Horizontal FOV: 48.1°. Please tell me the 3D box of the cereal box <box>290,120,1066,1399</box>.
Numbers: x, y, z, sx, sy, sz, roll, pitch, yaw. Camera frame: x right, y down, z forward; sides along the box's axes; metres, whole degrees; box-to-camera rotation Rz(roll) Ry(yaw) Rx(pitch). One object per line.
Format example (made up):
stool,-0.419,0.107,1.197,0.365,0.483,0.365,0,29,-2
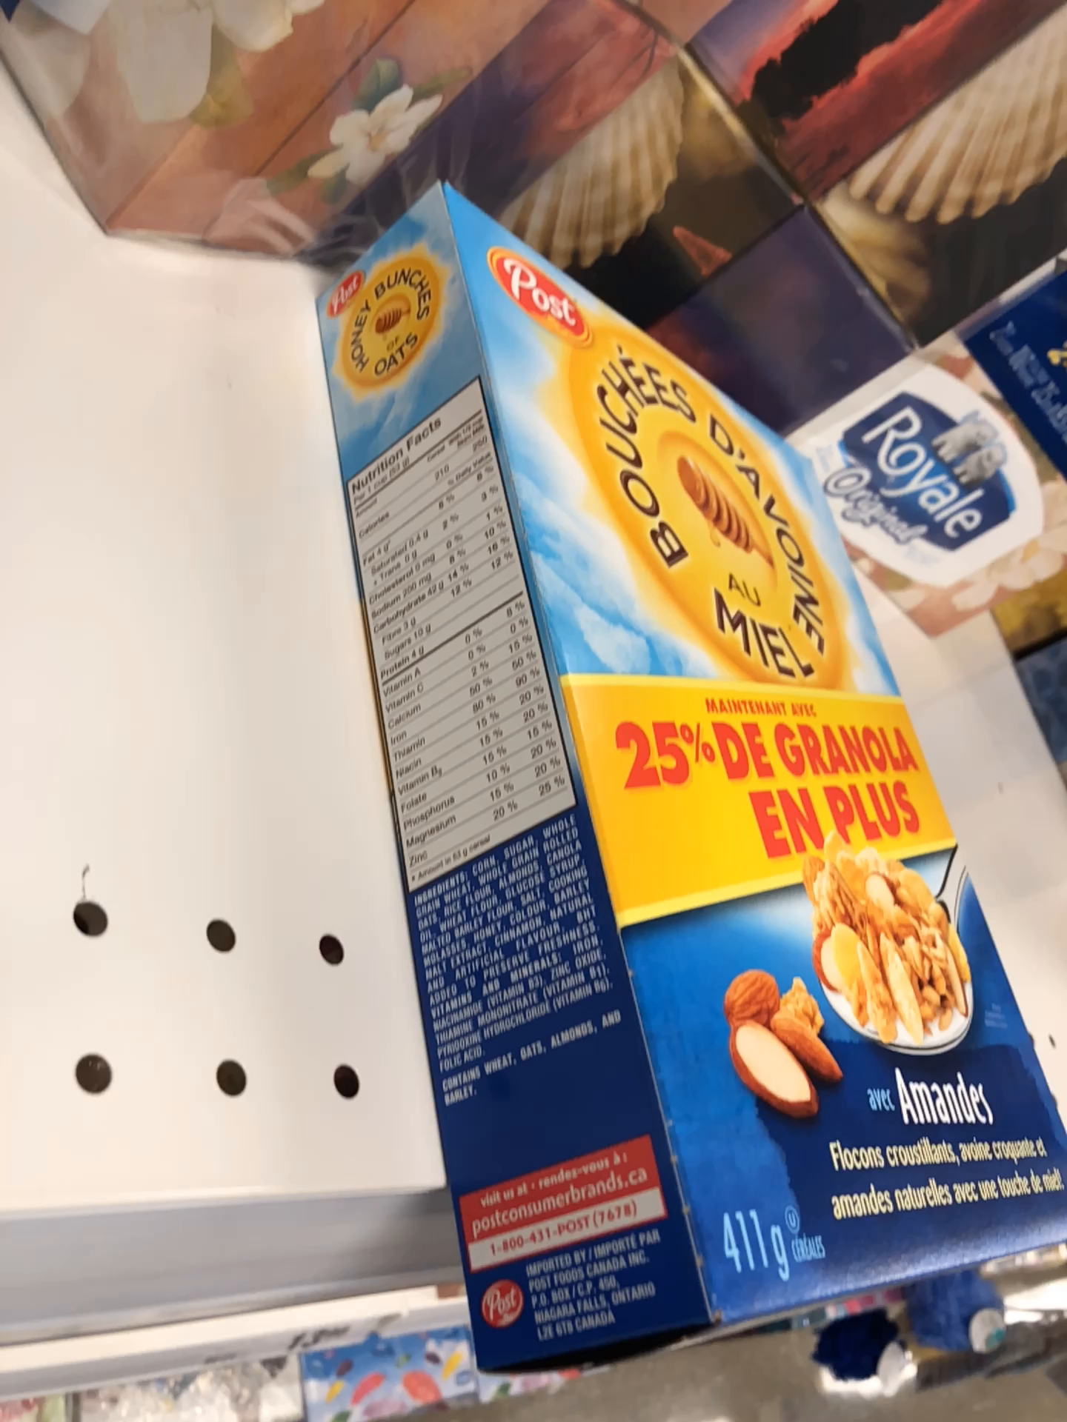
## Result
cereal box,0.048,0.008,0.319,0.211,0.050,0.270,20,49,-46
